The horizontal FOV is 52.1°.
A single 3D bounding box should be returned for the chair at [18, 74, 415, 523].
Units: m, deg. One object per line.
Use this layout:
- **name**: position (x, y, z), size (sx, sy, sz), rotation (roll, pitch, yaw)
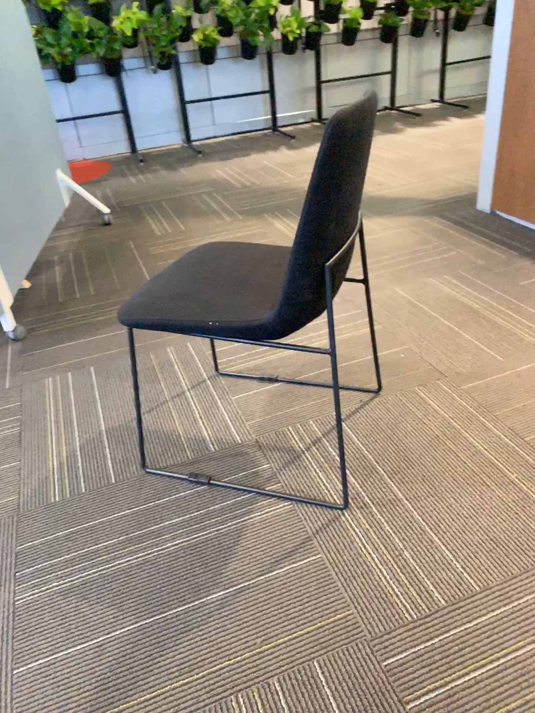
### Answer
- **chair**: position (-0.023, -0.145, 1.182), size (0.571, 0.745, 0.492), rotation (6, 34, 20)
